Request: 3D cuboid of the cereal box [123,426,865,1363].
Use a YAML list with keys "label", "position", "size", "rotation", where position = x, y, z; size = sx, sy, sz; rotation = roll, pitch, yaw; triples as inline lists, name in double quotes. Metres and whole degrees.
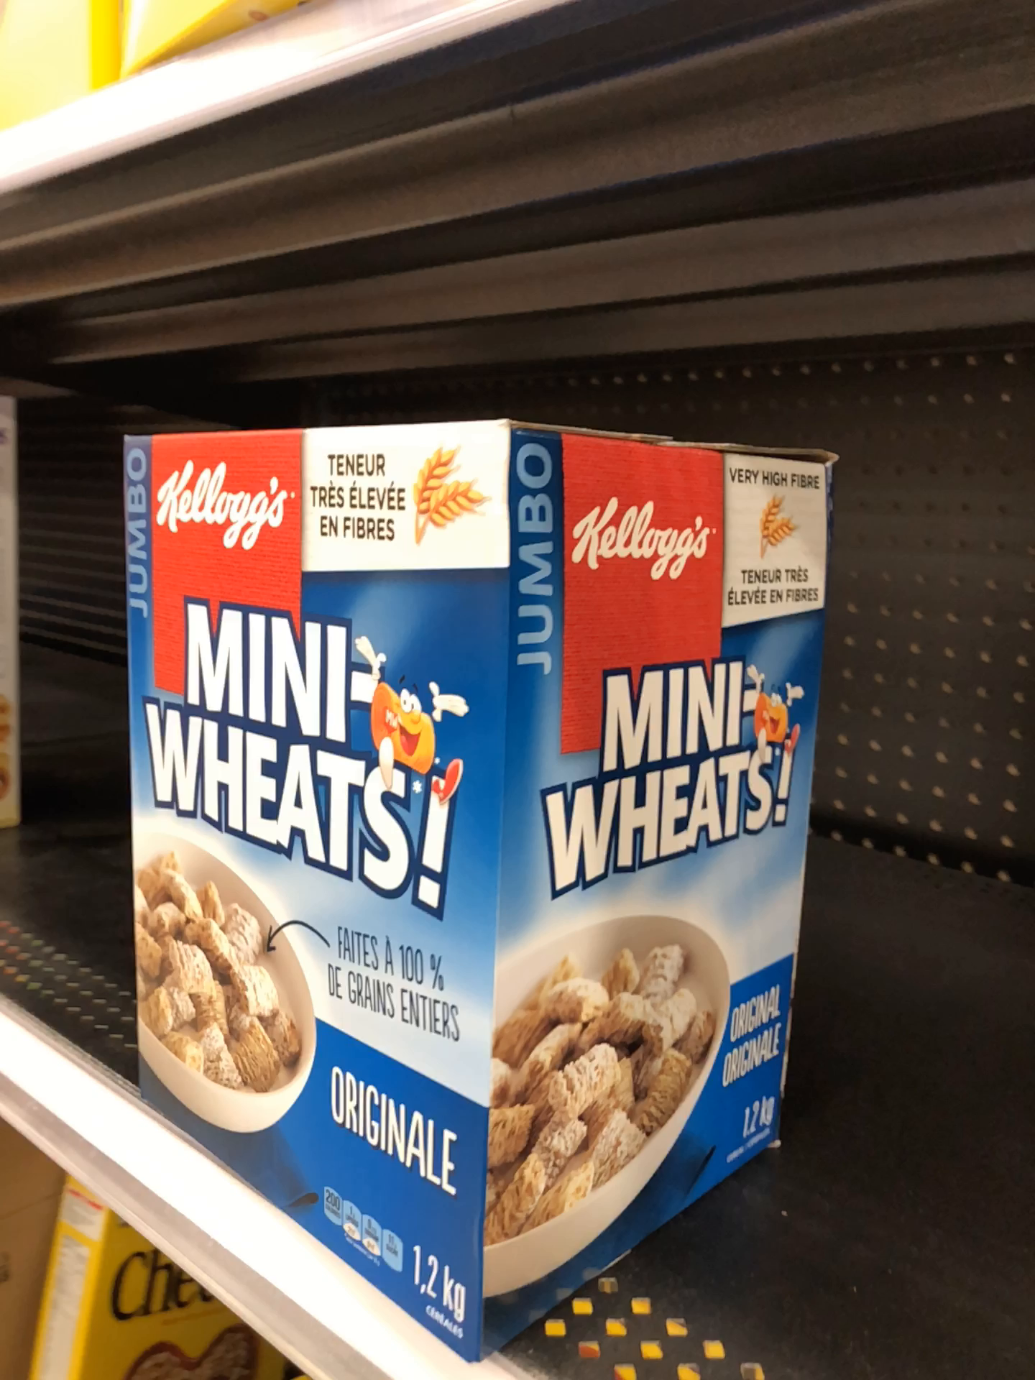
- label: "cereal box"
  position: [-0.015, 0.038, 0.423]
  size: [0.200, 0.249, 0.170]
  rotation: [10, 12, 43]
